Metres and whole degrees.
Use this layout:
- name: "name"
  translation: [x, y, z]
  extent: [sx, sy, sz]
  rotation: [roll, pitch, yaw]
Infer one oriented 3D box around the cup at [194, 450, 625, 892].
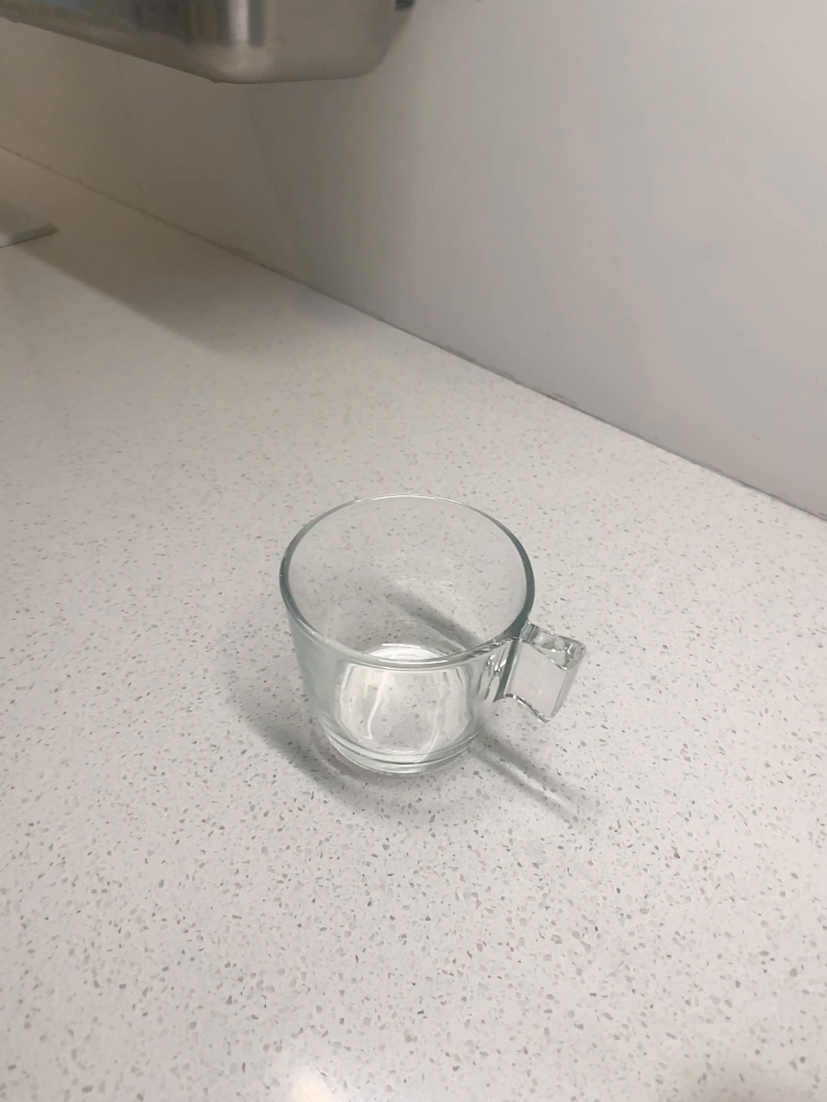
- name: "cup"
  translation: [-0.002, 0.036, 0.307]
  extent: [0.110, 0.080, 0.090]
  rotation: [27, 46, 26]
